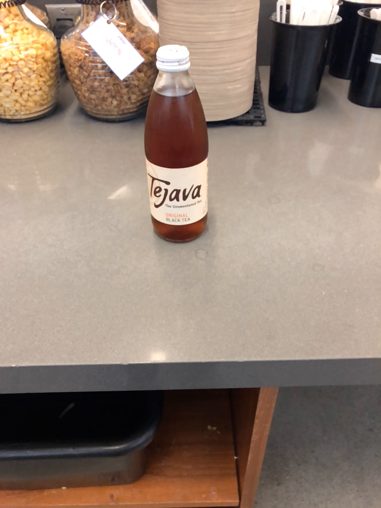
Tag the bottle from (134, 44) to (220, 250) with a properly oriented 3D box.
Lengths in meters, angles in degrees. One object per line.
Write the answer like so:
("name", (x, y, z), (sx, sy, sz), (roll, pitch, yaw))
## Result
("bottle", (-0.011, -0.100, 0.430), (0.070, 0.189, 0.070), (0, 40, 0))
